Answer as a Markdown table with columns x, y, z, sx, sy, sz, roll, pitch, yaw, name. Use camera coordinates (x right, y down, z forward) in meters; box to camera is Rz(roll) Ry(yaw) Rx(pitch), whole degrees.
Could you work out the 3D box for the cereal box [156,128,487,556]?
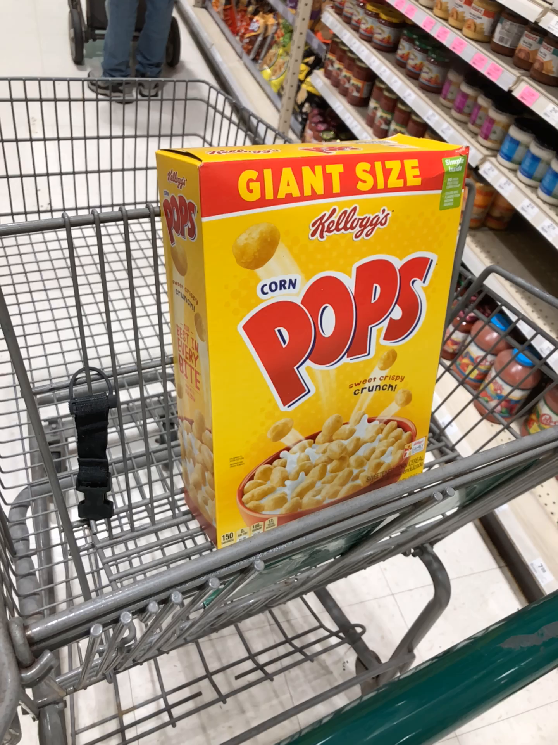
| x | y | z | sx | sy | sz | roll | pitch | yaw | name |
| --- | --- | --- | --- | --- | --- | --- | --- | --- | --- |
| 0.036 | -0.031 | 0.546 | 0.250 | 0.329 | 0.080 | -14 | 31 | -27 | cereal box |
